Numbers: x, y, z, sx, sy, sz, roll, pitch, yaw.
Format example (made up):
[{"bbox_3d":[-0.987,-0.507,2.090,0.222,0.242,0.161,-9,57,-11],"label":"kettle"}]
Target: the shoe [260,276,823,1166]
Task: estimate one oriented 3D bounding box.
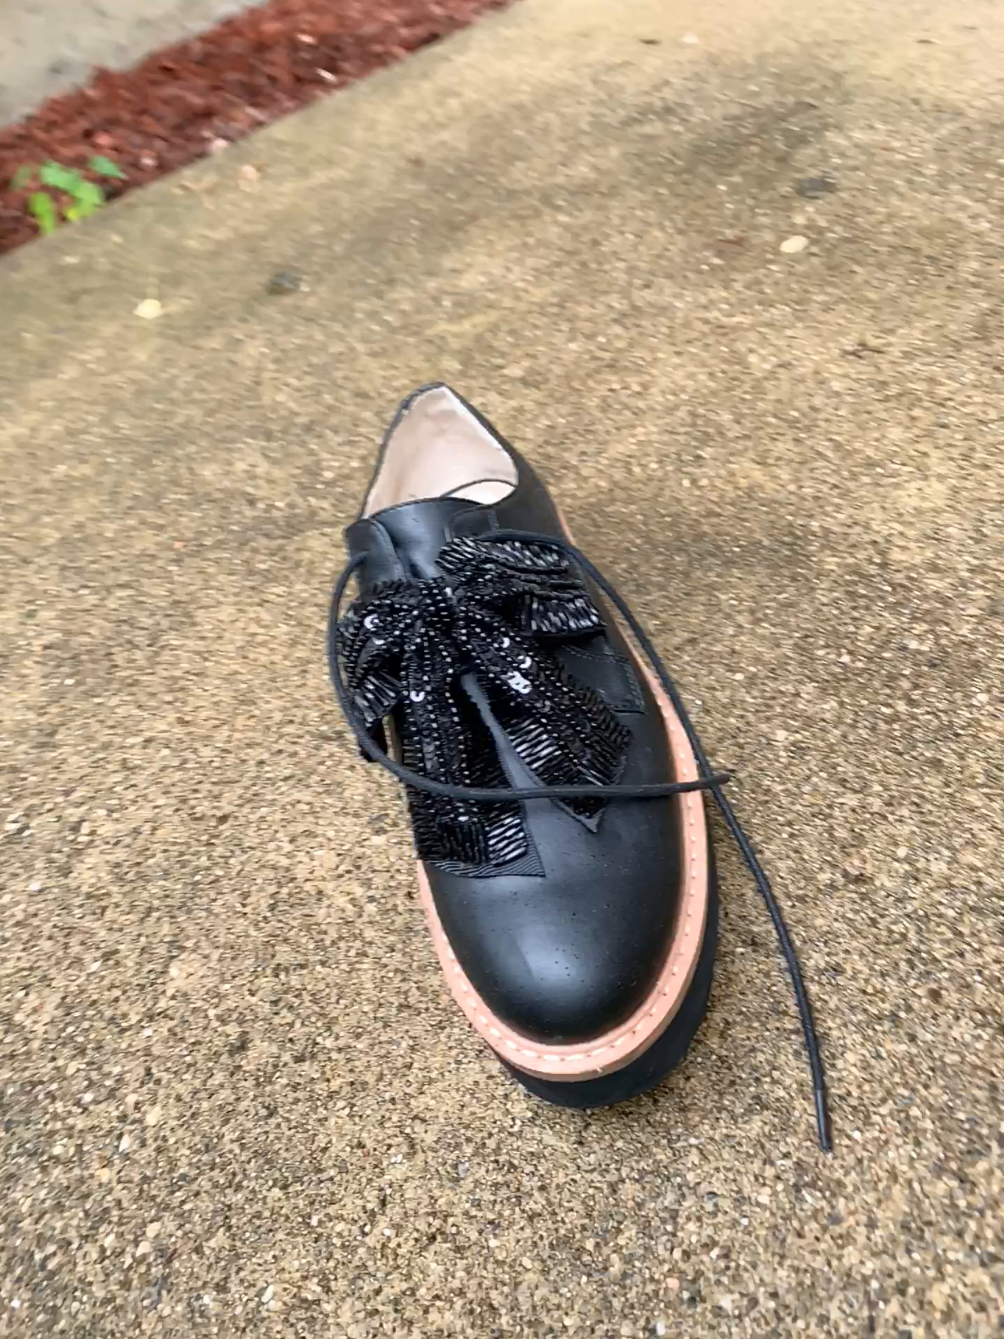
[{"bbox_3d":[-0.001,-0.003,0.343,0.106,0.120,0.259,-19,45,3],"label":"shoe"}]
